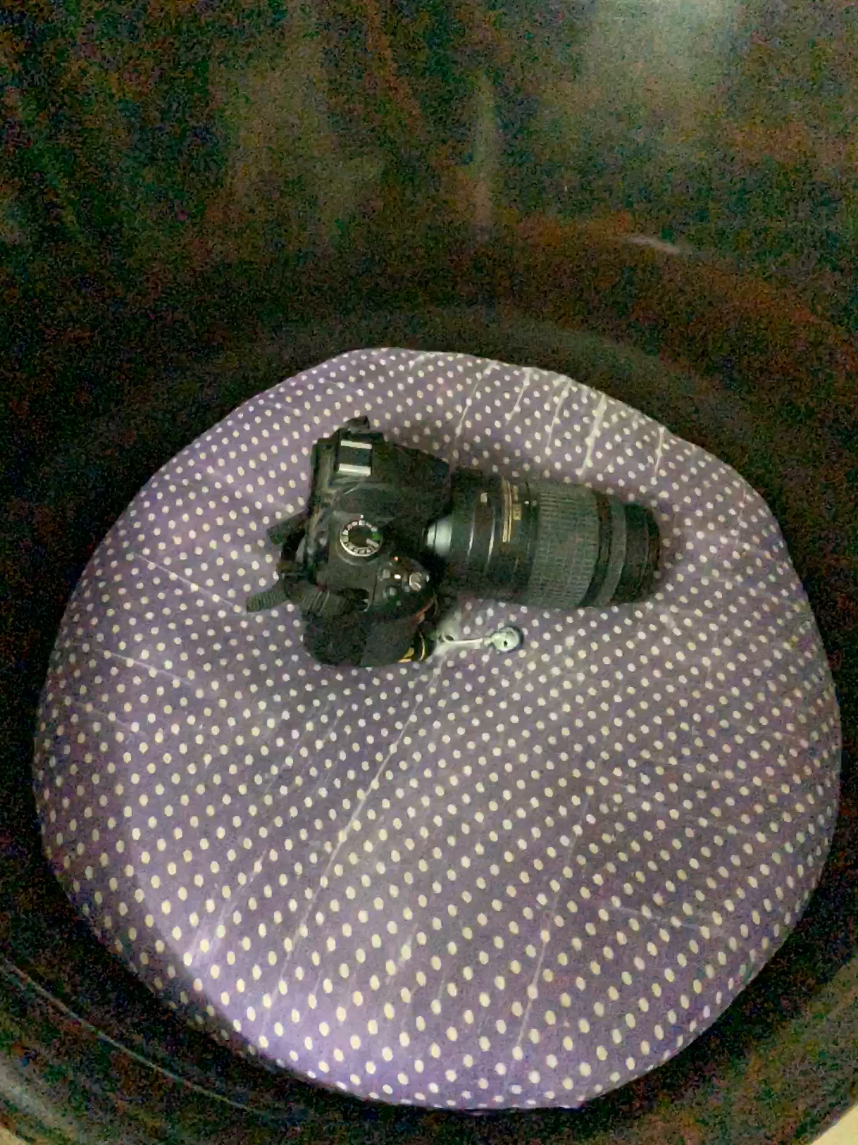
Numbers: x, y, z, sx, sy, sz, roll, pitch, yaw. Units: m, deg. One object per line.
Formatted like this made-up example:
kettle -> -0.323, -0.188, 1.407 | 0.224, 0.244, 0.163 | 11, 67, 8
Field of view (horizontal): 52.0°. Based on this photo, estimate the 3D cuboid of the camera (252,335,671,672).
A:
camera -> 0.009, -0.035, 0.494 | 0.200, 0.100, 0.140 | 4, 55, -10
